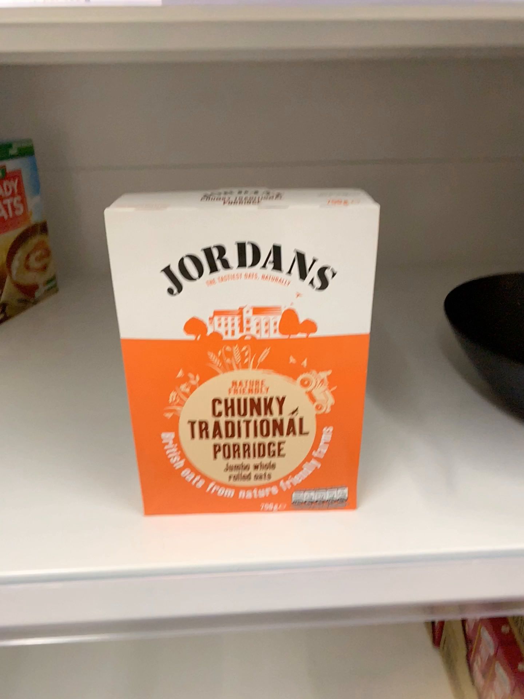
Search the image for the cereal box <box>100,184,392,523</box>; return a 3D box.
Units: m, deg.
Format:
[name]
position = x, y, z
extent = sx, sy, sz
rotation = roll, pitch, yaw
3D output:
[cereal box]
position = -0.009, 0.012, 0.434
extent = 0.190, 0.268, 0.060
rotation = -1, 25, -2
